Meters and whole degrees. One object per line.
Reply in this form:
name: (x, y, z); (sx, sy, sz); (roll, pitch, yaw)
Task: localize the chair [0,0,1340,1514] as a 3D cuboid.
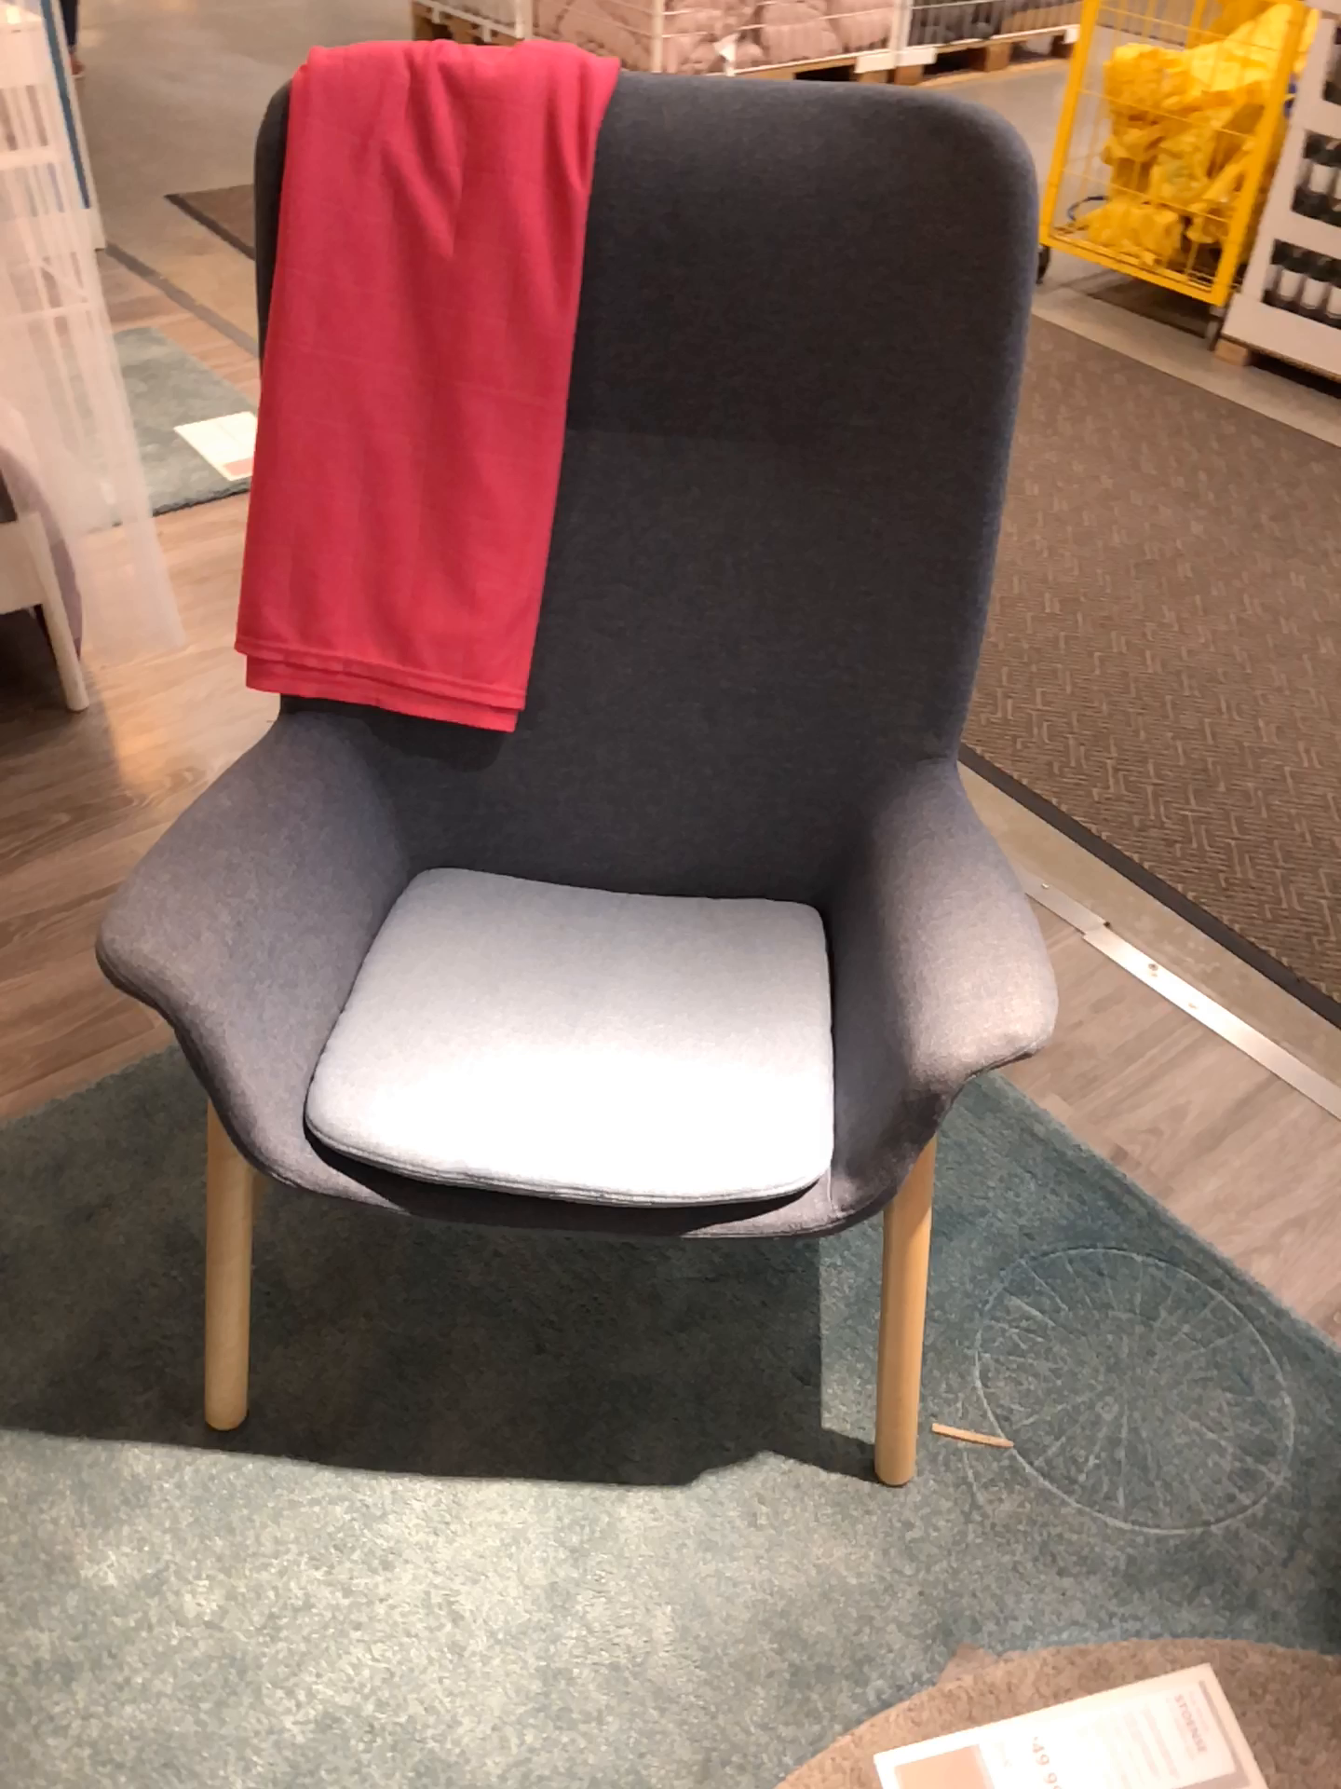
chair: (-0.084, -0.093, 1.231); (0.790, 0.996, 0.703); (4, 40, 1)
